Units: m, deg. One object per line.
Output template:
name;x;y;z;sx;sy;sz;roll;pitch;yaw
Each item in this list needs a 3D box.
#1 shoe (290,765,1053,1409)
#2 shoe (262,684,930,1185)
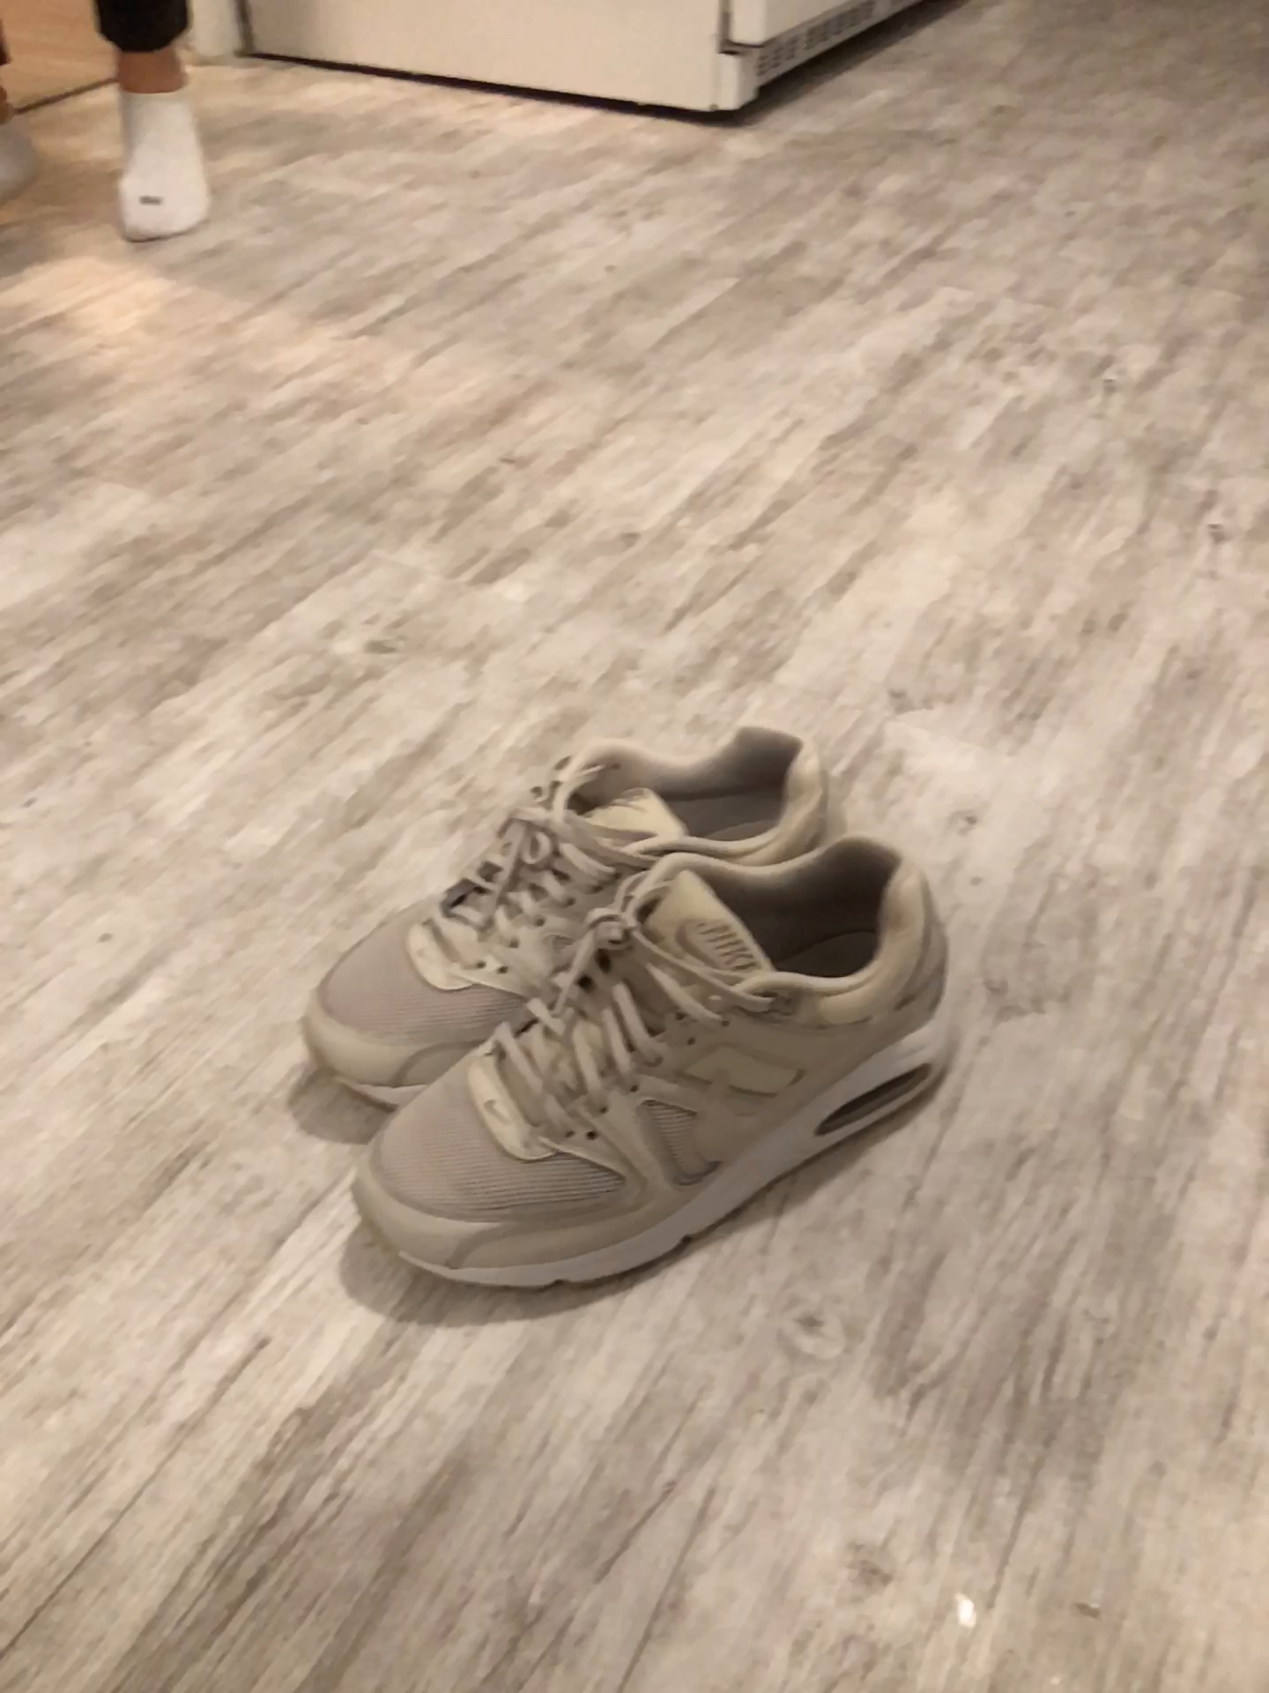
shoe;0.017;0.082;0.526;0.250;0.120;0.100;-21;45;-20
shoe;-0.014;0.033;0.593;0.250;0.120;0.090;-16;43;-15
